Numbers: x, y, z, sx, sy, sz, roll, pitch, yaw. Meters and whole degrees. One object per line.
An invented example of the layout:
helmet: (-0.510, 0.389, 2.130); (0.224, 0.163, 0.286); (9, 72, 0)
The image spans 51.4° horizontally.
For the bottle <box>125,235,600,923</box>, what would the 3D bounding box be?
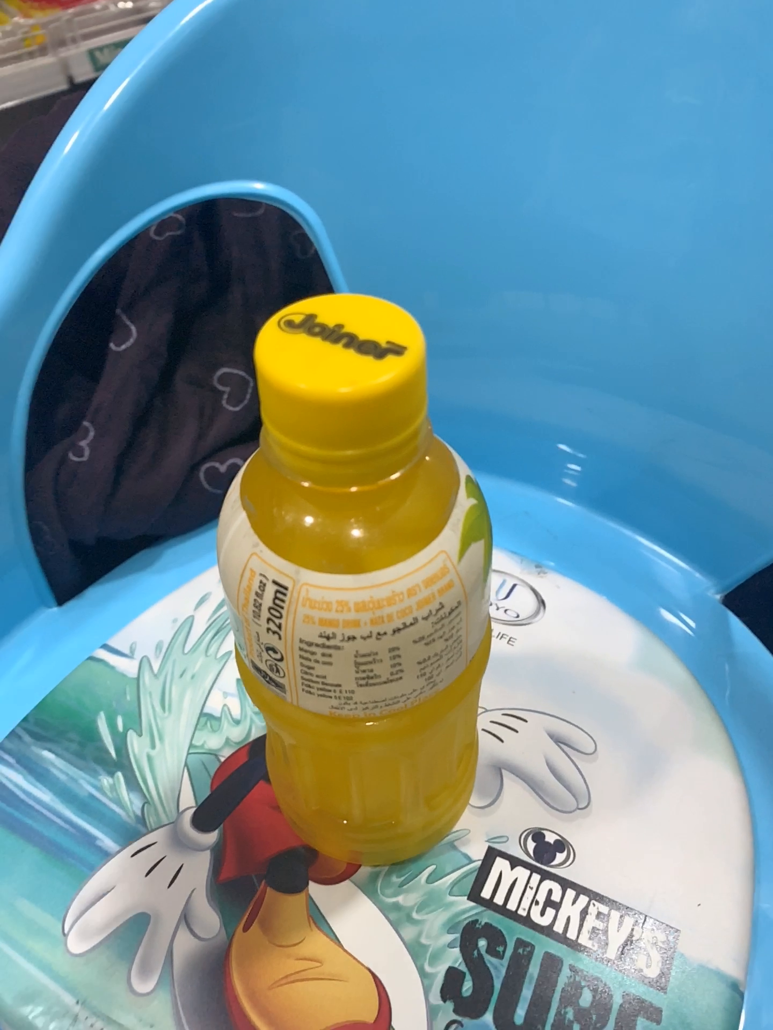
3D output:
bottle: (-0.007, 0.022, 0.180); (0.060, 0.139, 0.060); (0, 42, 0)
